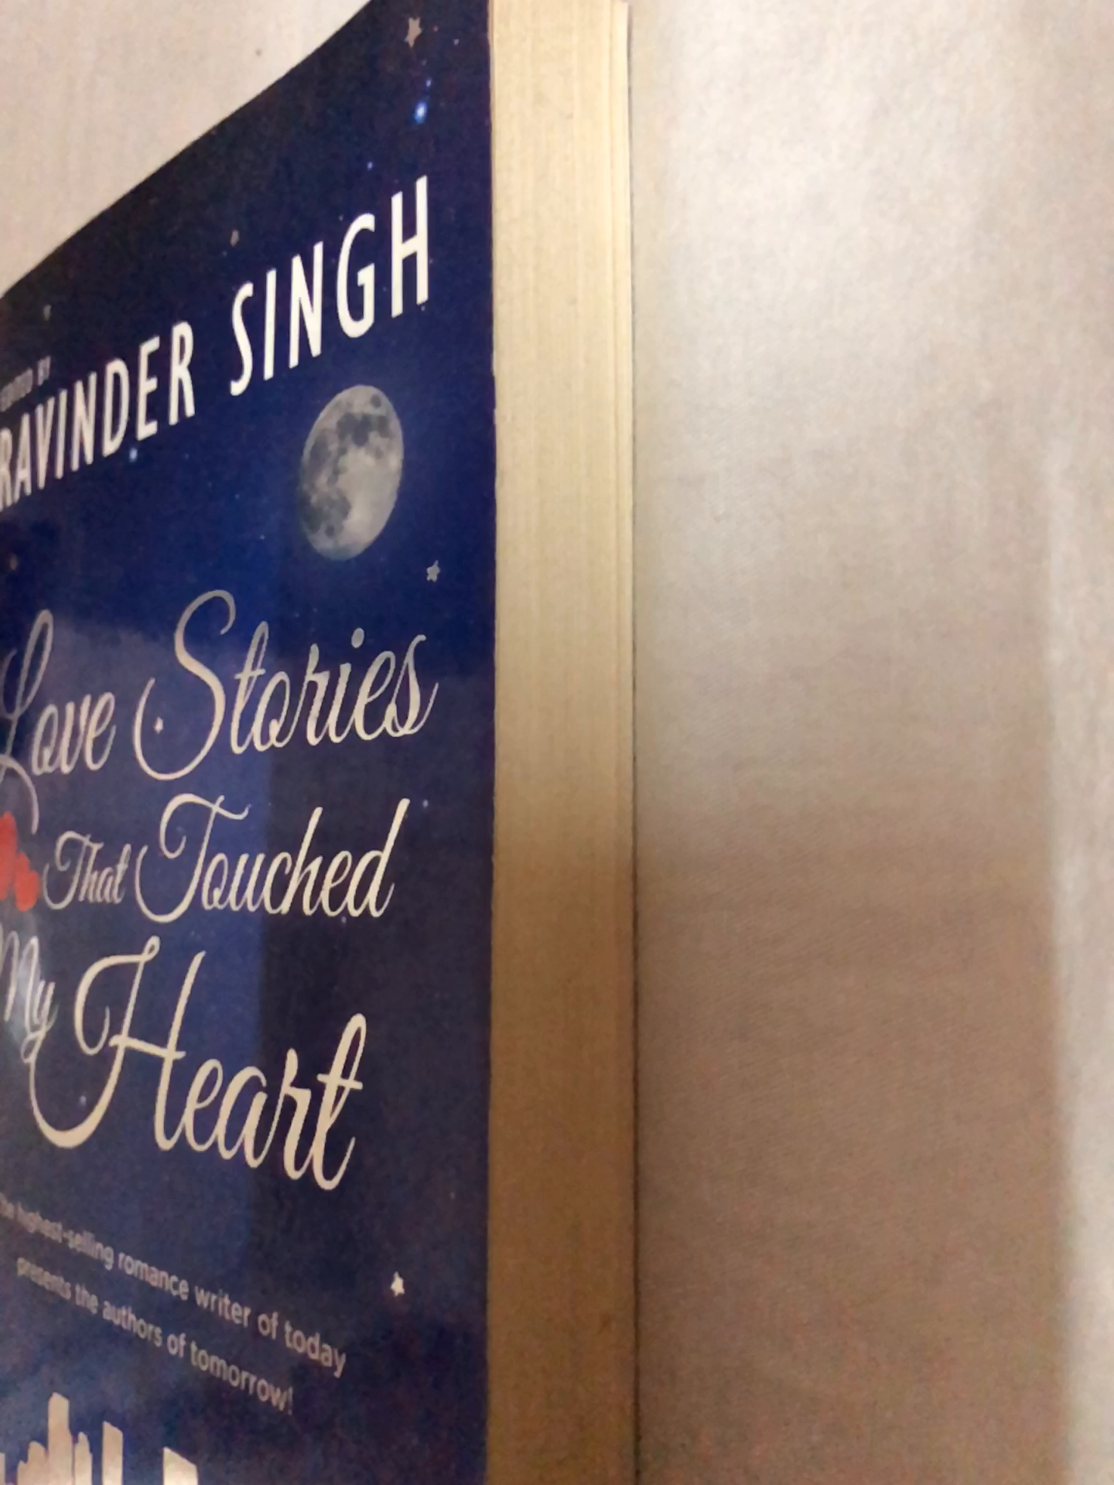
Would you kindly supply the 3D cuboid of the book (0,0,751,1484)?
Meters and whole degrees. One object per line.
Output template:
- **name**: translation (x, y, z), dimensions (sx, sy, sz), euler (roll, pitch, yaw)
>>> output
- **book**: translation (-0.038, 0.032, 0.166), dimensions (0.131, 0.030, 0.210), euler (-2, 85, 46)
